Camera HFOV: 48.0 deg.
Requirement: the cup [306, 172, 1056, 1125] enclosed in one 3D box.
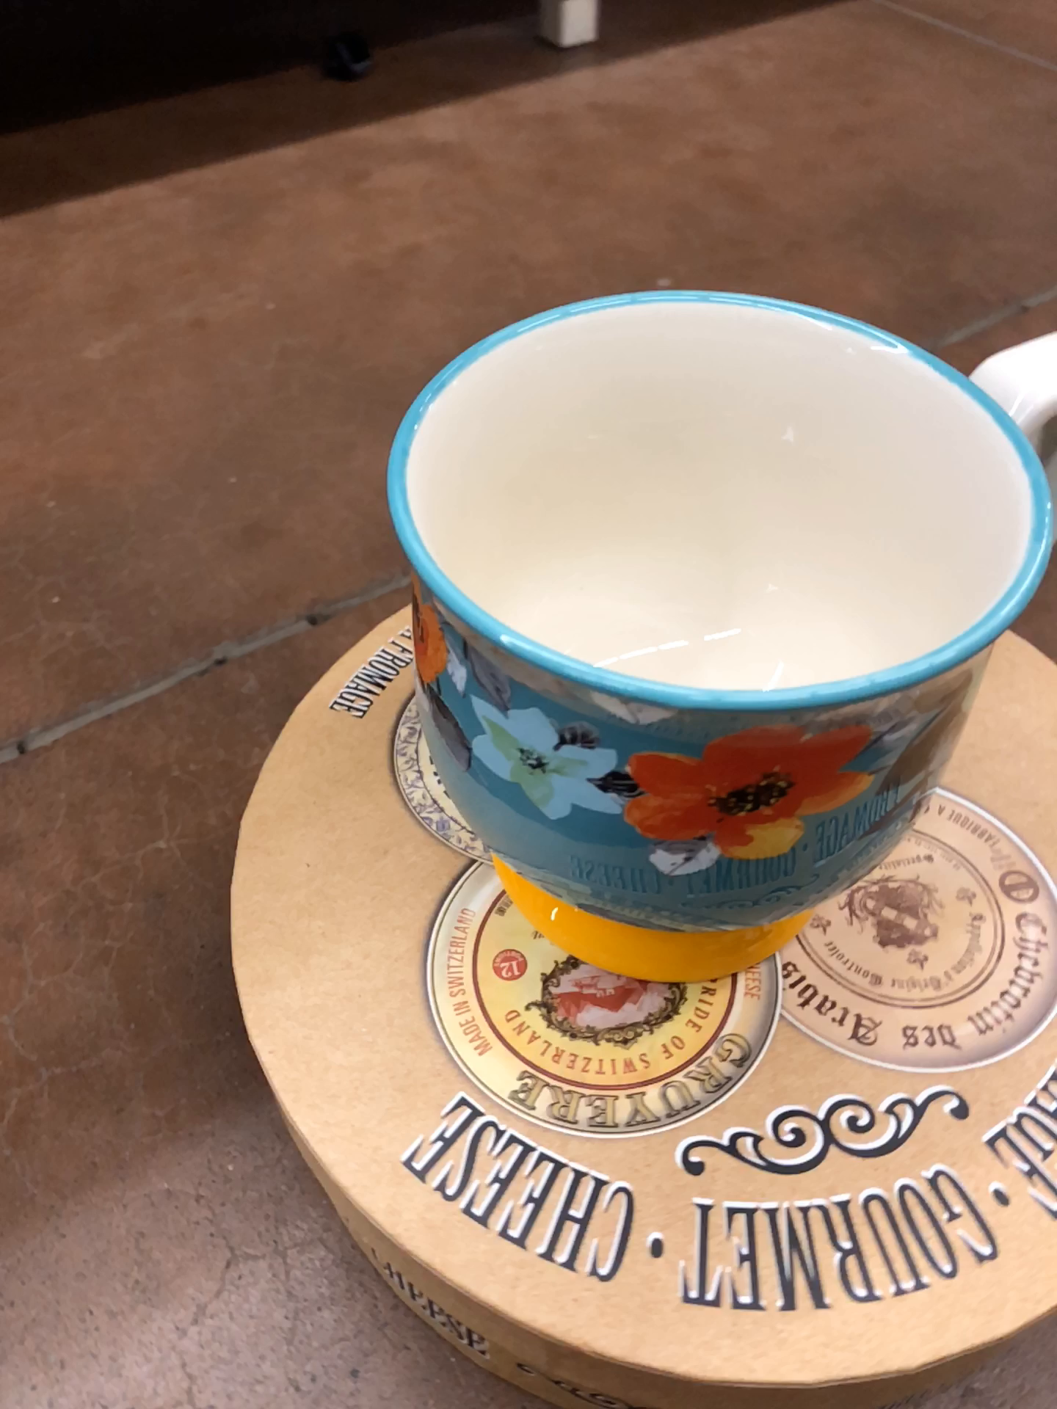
[{"bbox_3d":[0.051,-0.018,0.202,0.140,0.080,0.090,-24,52,-21],"label":"cup"}]
